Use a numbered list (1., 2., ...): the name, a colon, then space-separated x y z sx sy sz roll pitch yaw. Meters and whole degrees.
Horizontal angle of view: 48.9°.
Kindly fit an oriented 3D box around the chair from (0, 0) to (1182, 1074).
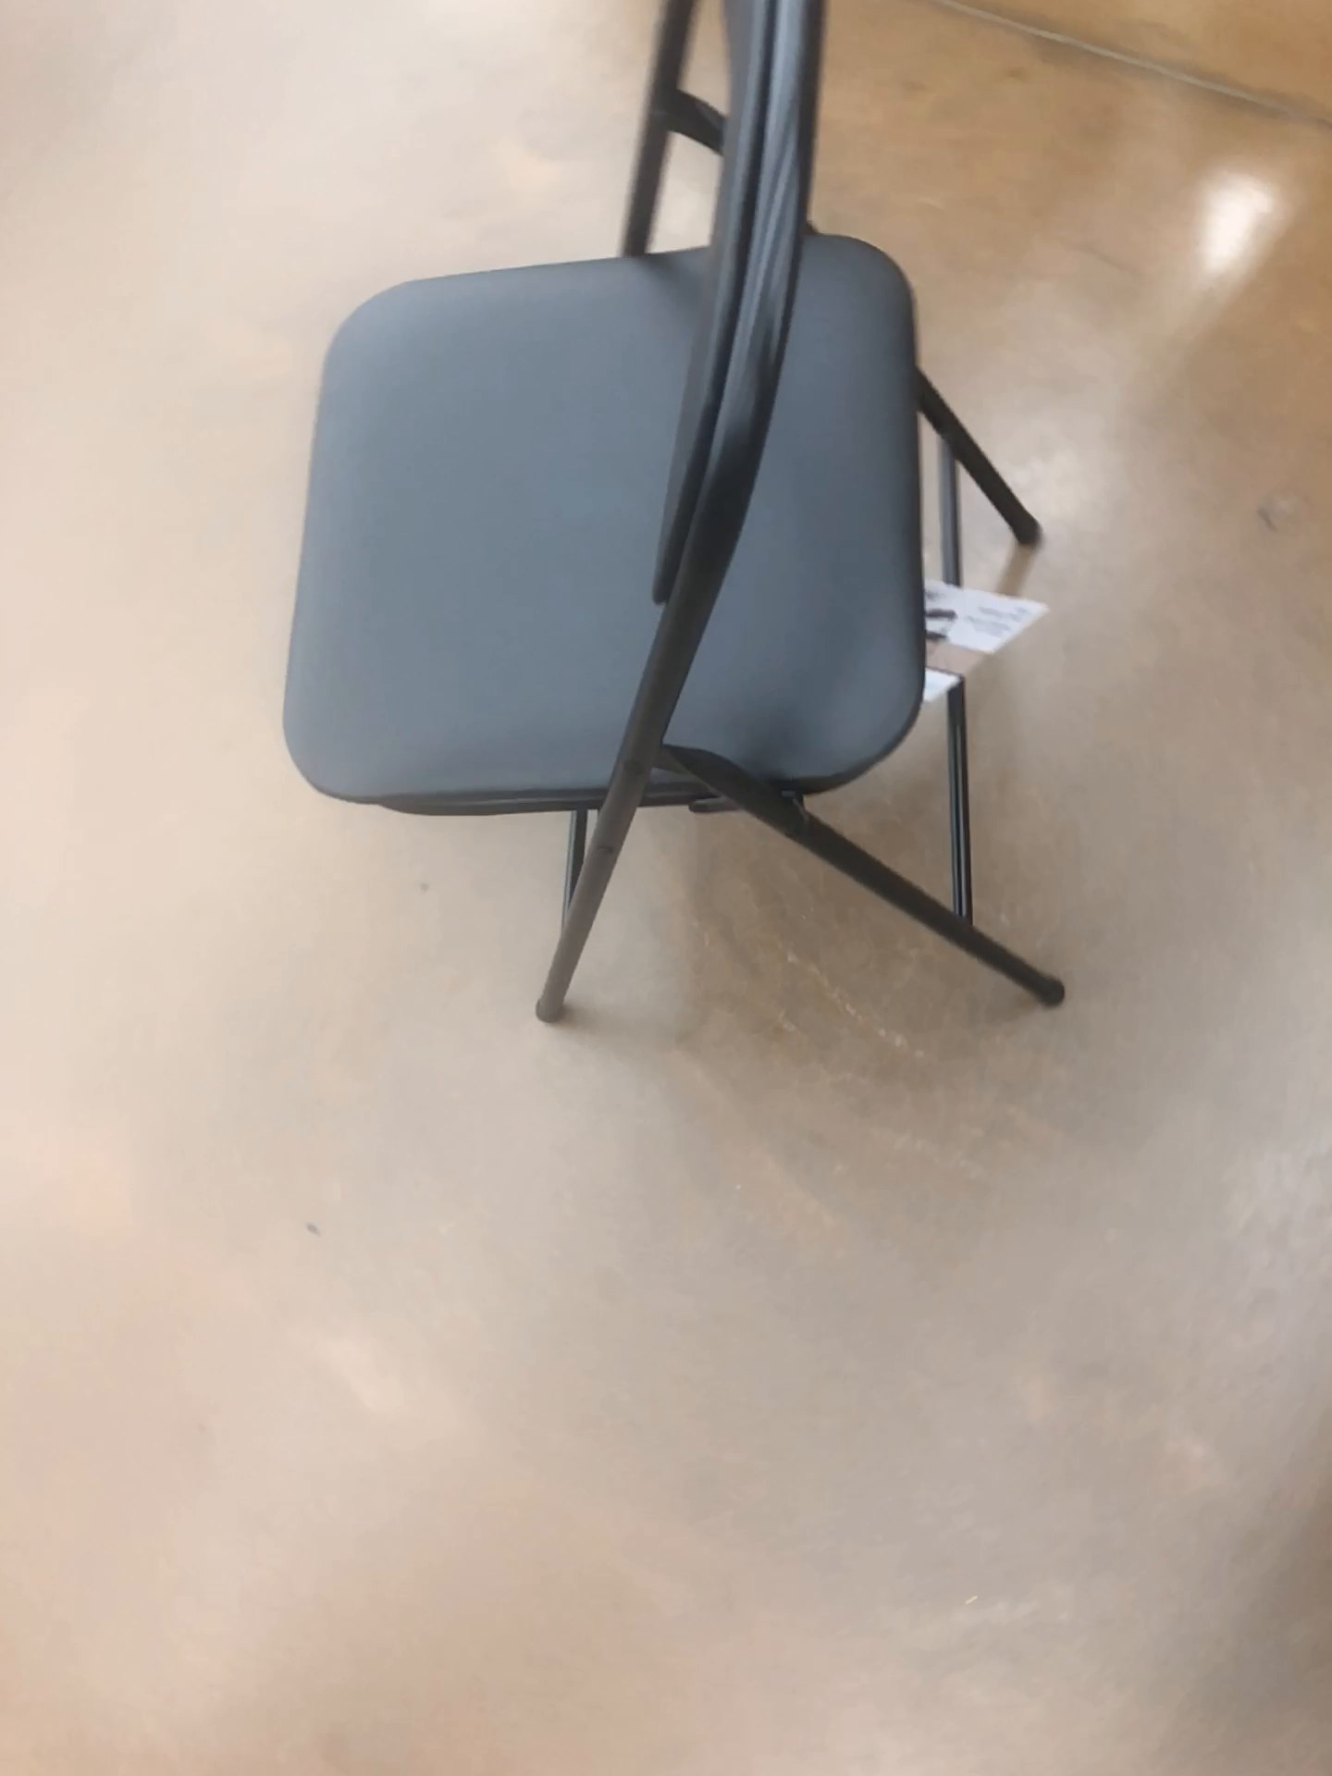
1. chair: 0.007 -0.241 0.873 0.491 0.759 0.520 -5 69 16
